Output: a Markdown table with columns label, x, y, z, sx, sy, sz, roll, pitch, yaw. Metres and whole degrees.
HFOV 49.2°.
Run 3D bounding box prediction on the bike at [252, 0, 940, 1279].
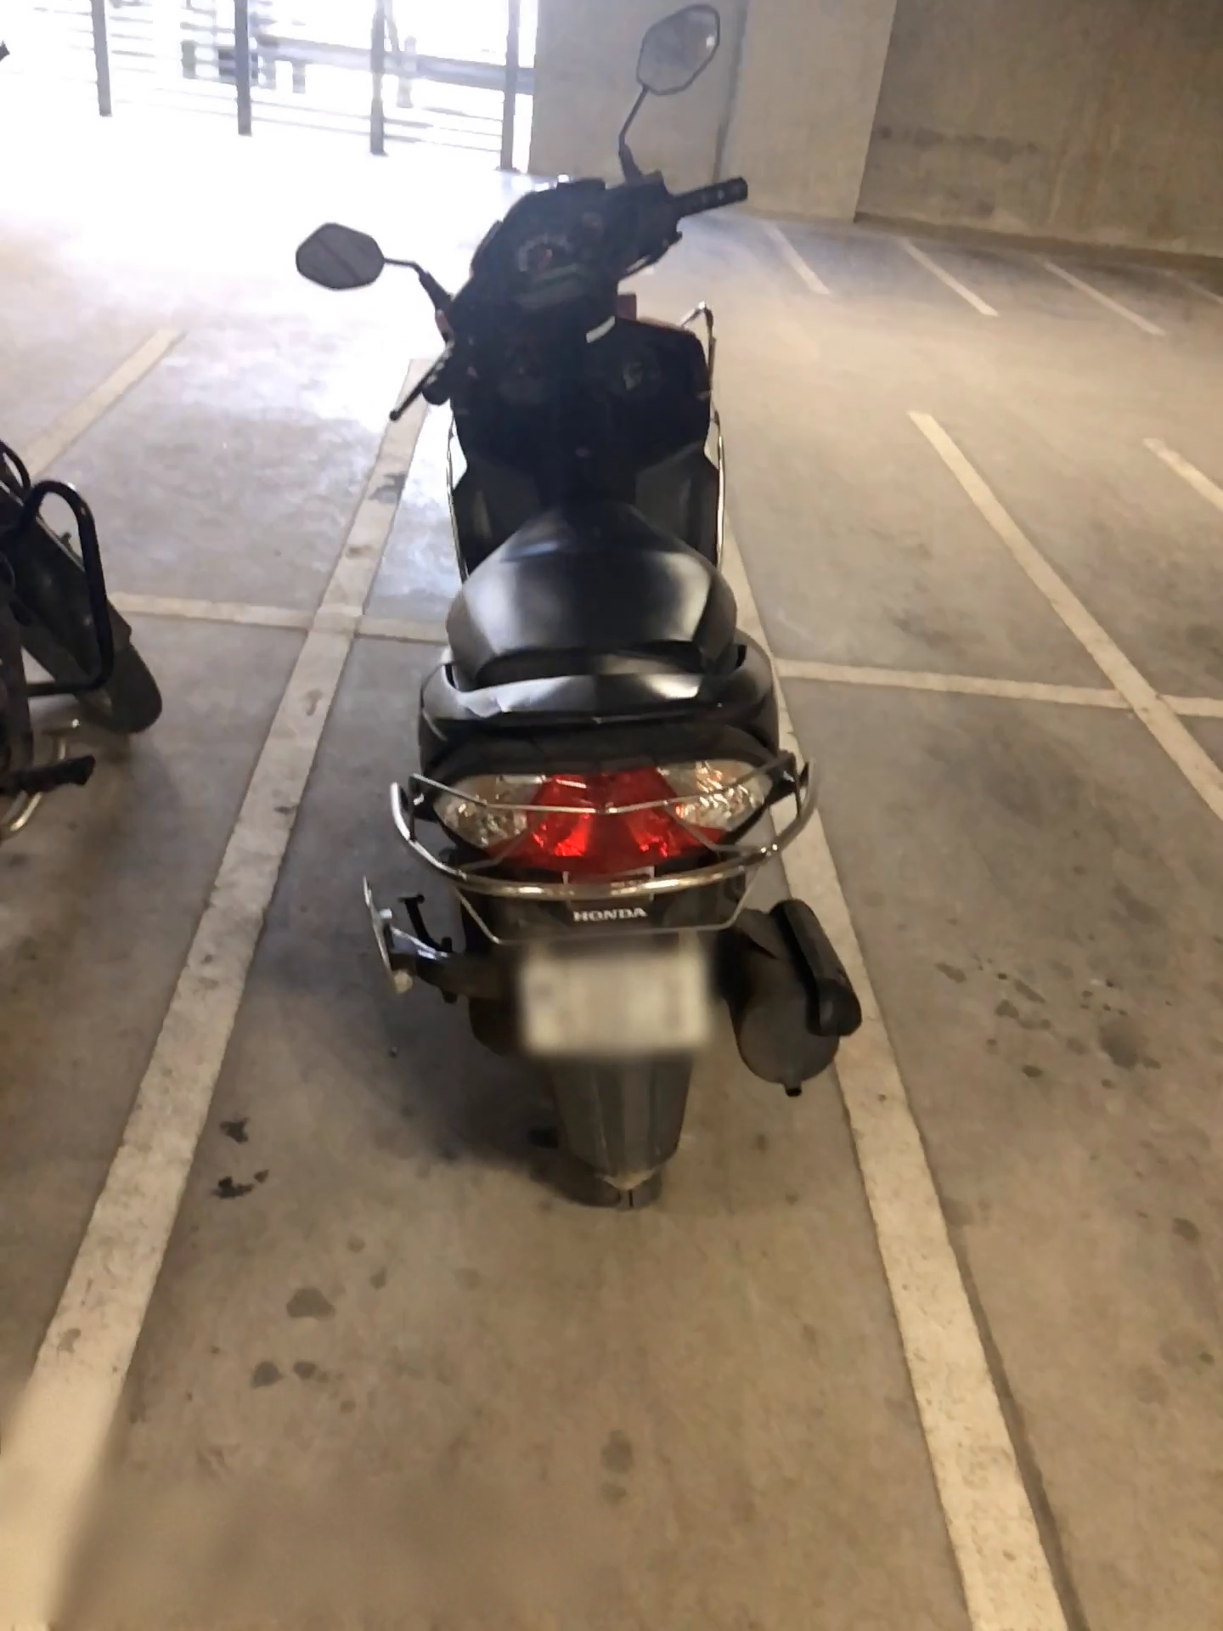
| label | x | y | z | sx | sy | sz | roll | pitch | yaw |
| --- | --- | --- | --- | --- | --- | --- | --- | --- | --- |
| bike | -0.151 | -0.516 | 2.191 | 0.582 | 1.187 | 1.961 | 3 | 36 | -8 |
